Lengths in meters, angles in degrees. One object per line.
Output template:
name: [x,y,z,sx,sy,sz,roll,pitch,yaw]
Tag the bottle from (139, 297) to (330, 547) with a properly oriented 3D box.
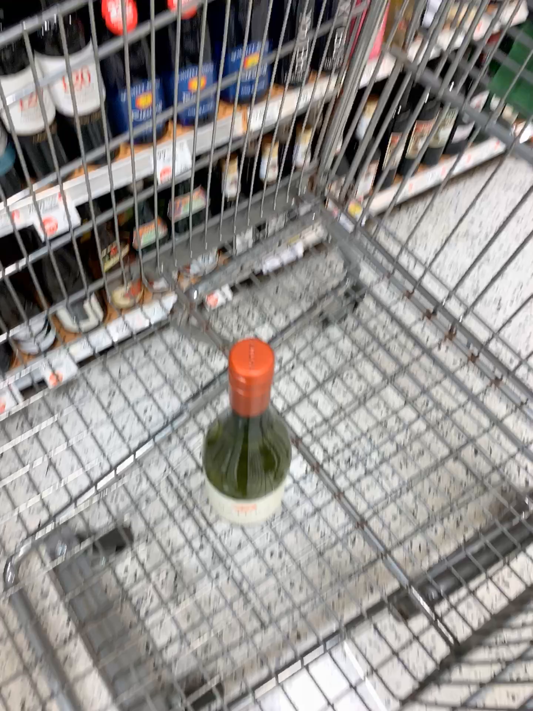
bottle: [-0.018,0.077,0.422,0.090,0.298,0.080,8,62,3]
